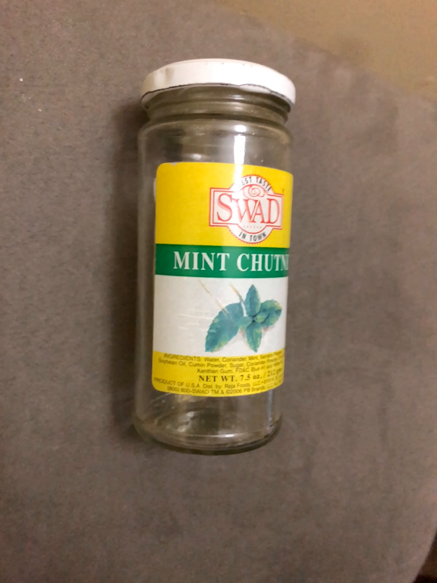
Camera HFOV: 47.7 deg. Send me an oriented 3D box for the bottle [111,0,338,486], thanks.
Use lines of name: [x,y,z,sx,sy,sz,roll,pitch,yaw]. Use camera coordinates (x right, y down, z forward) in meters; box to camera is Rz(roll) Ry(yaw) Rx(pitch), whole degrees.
bottle: [-0.003,-0.014,0.177,0.060,0.059,0.137,0,96,-21]
